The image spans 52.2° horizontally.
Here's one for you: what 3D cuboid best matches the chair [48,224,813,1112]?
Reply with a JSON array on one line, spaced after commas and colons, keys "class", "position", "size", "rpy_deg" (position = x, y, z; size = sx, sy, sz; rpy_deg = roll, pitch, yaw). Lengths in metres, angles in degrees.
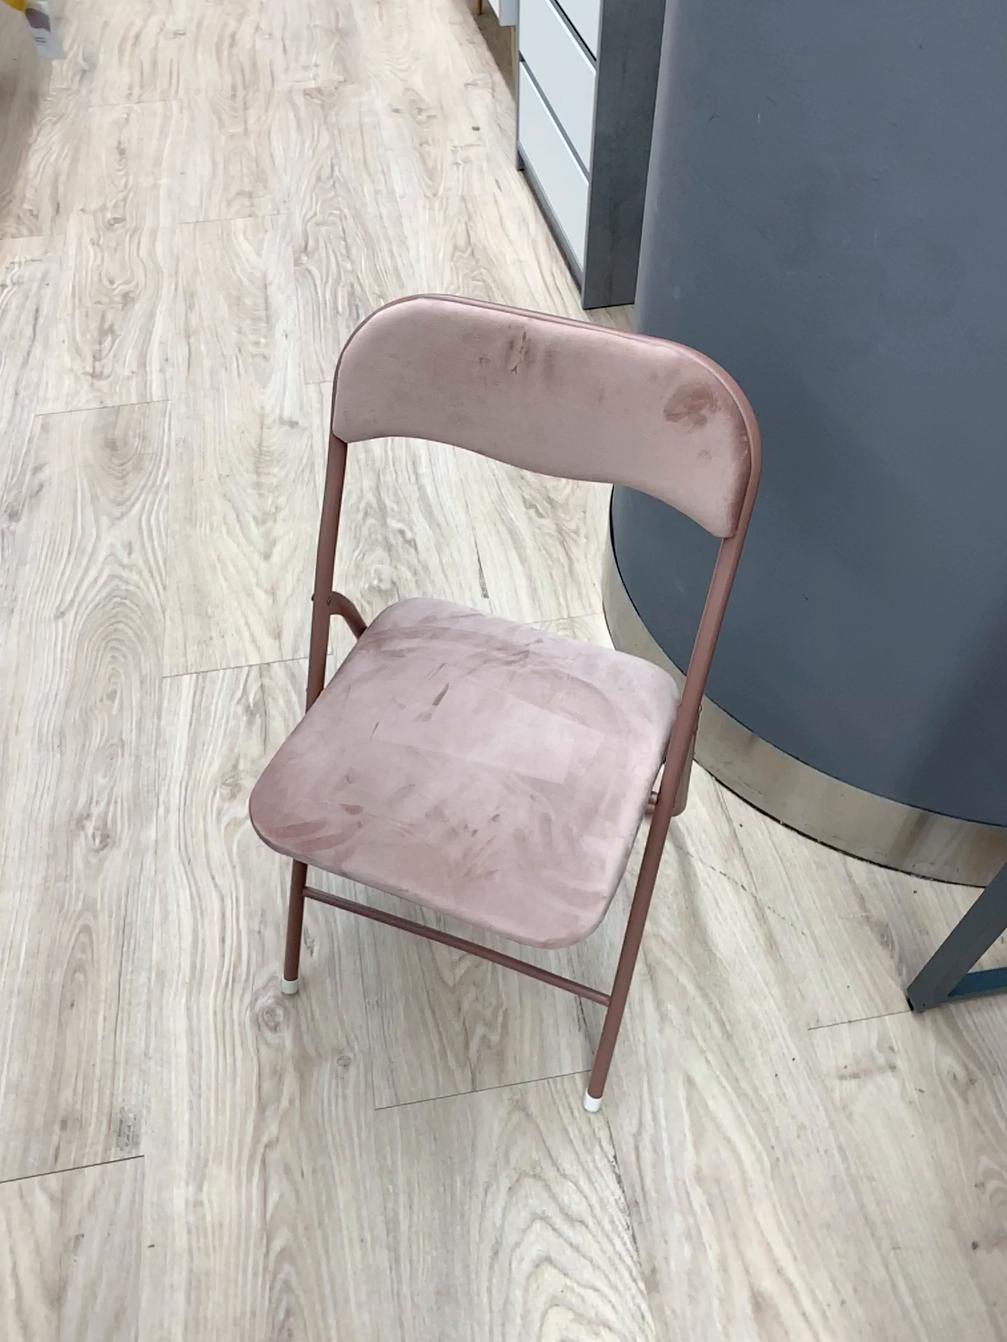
[{"class": "chair", "position": [-0.020, 0.049, 1.119], "size": [0.460, 0.797, 0.481], "rpy_deg": [14, 53, 12]}]
